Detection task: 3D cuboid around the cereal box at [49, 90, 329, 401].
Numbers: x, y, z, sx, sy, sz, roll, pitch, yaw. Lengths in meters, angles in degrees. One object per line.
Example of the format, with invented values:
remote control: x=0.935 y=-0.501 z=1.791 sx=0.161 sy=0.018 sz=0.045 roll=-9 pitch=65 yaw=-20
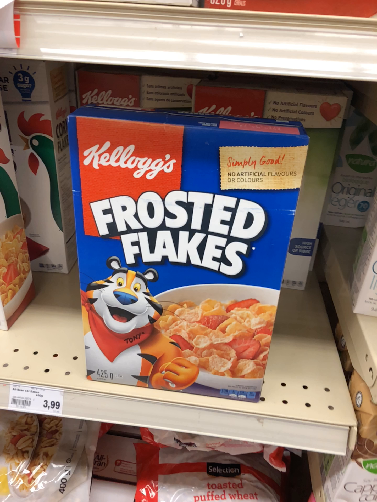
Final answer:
cereal box: x=-0.006 y=0.005 z=0.398 sx=0.210 sy=0.278 sz=0.060 roll=6 pitch=27 yaw=6
